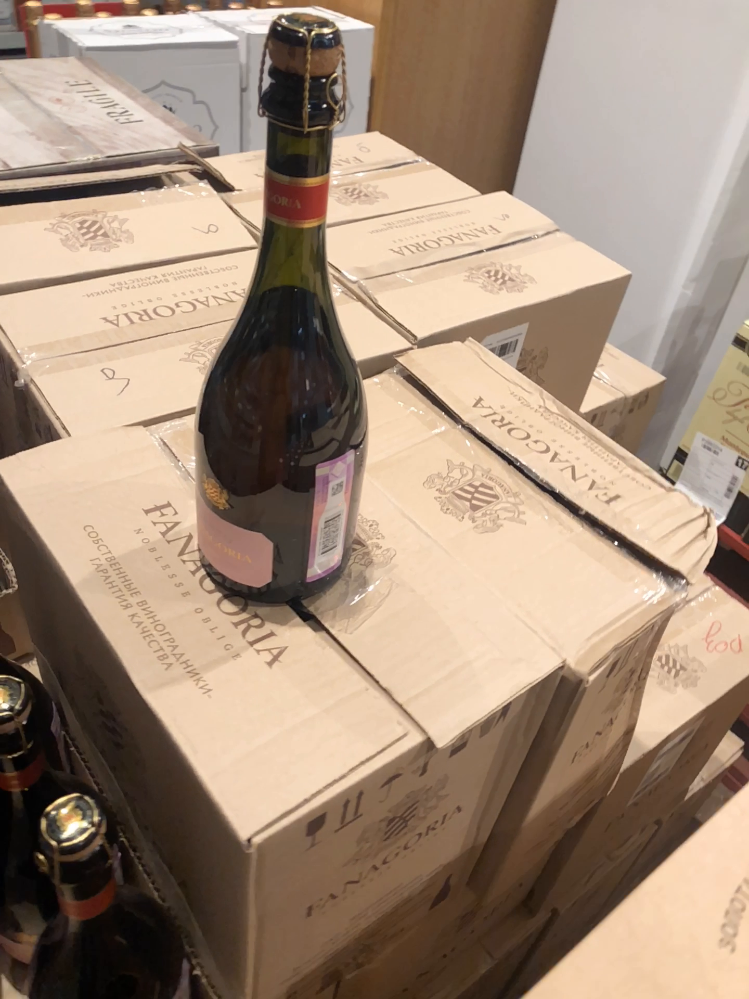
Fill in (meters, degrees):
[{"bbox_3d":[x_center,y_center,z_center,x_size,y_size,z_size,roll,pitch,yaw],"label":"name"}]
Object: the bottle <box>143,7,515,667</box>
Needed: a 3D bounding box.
[{"bbox_3d":[-0.035,-0.067,0.421,0.100,0.298,0.110,5,40,-4],"label":"bottle"}]
